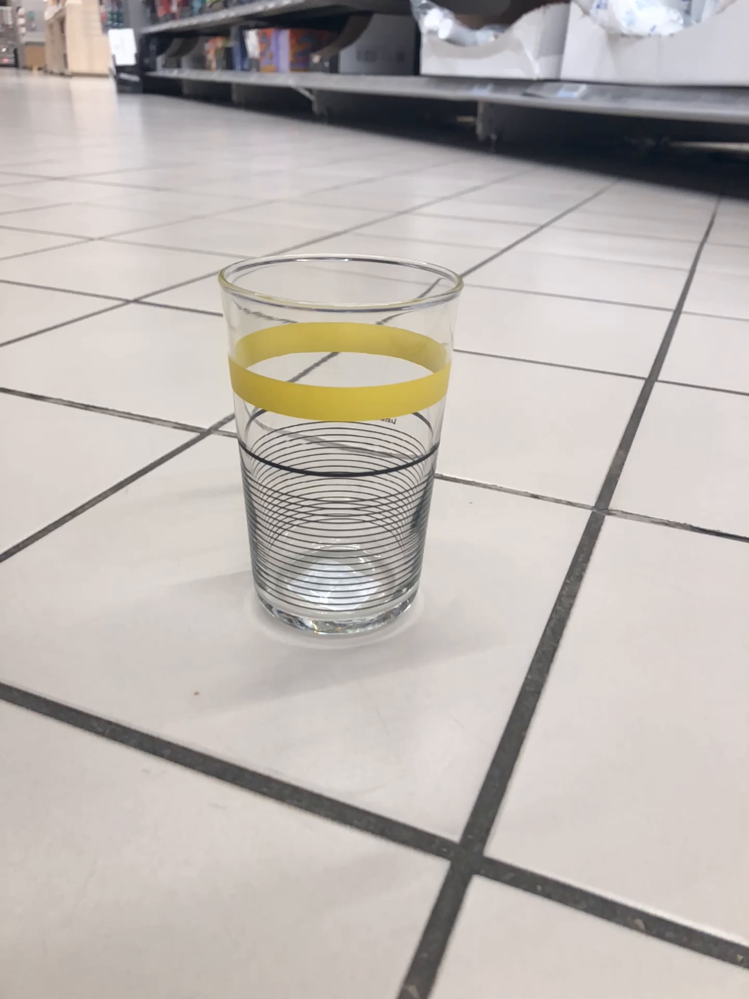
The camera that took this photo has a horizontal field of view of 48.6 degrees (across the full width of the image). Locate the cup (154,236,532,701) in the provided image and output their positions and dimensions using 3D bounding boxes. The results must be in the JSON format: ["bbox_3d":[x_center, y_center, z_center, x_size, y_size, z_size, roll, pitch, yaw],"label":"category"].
[{"bbox_3d":[-0.010,-0.017,0.264,0.077,0.114,0.079,0,25,0],"label":"cup"}]
